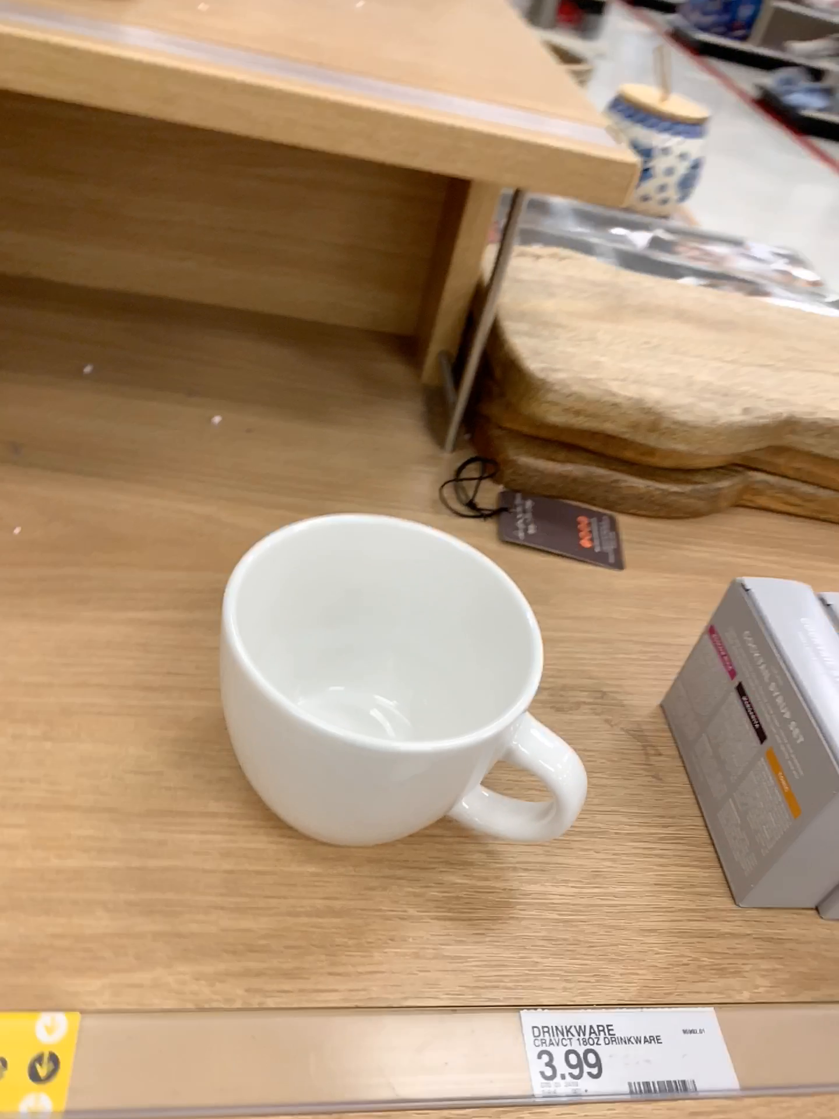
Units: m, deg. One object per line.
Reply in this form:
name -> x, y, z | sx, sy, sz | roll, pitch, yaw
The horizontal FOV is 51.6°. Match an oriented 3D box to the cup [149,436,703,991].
cup -> 0.004, 0.043, 0.289 | 0.140, 0.080, 0.110 | 24, 41, 9
